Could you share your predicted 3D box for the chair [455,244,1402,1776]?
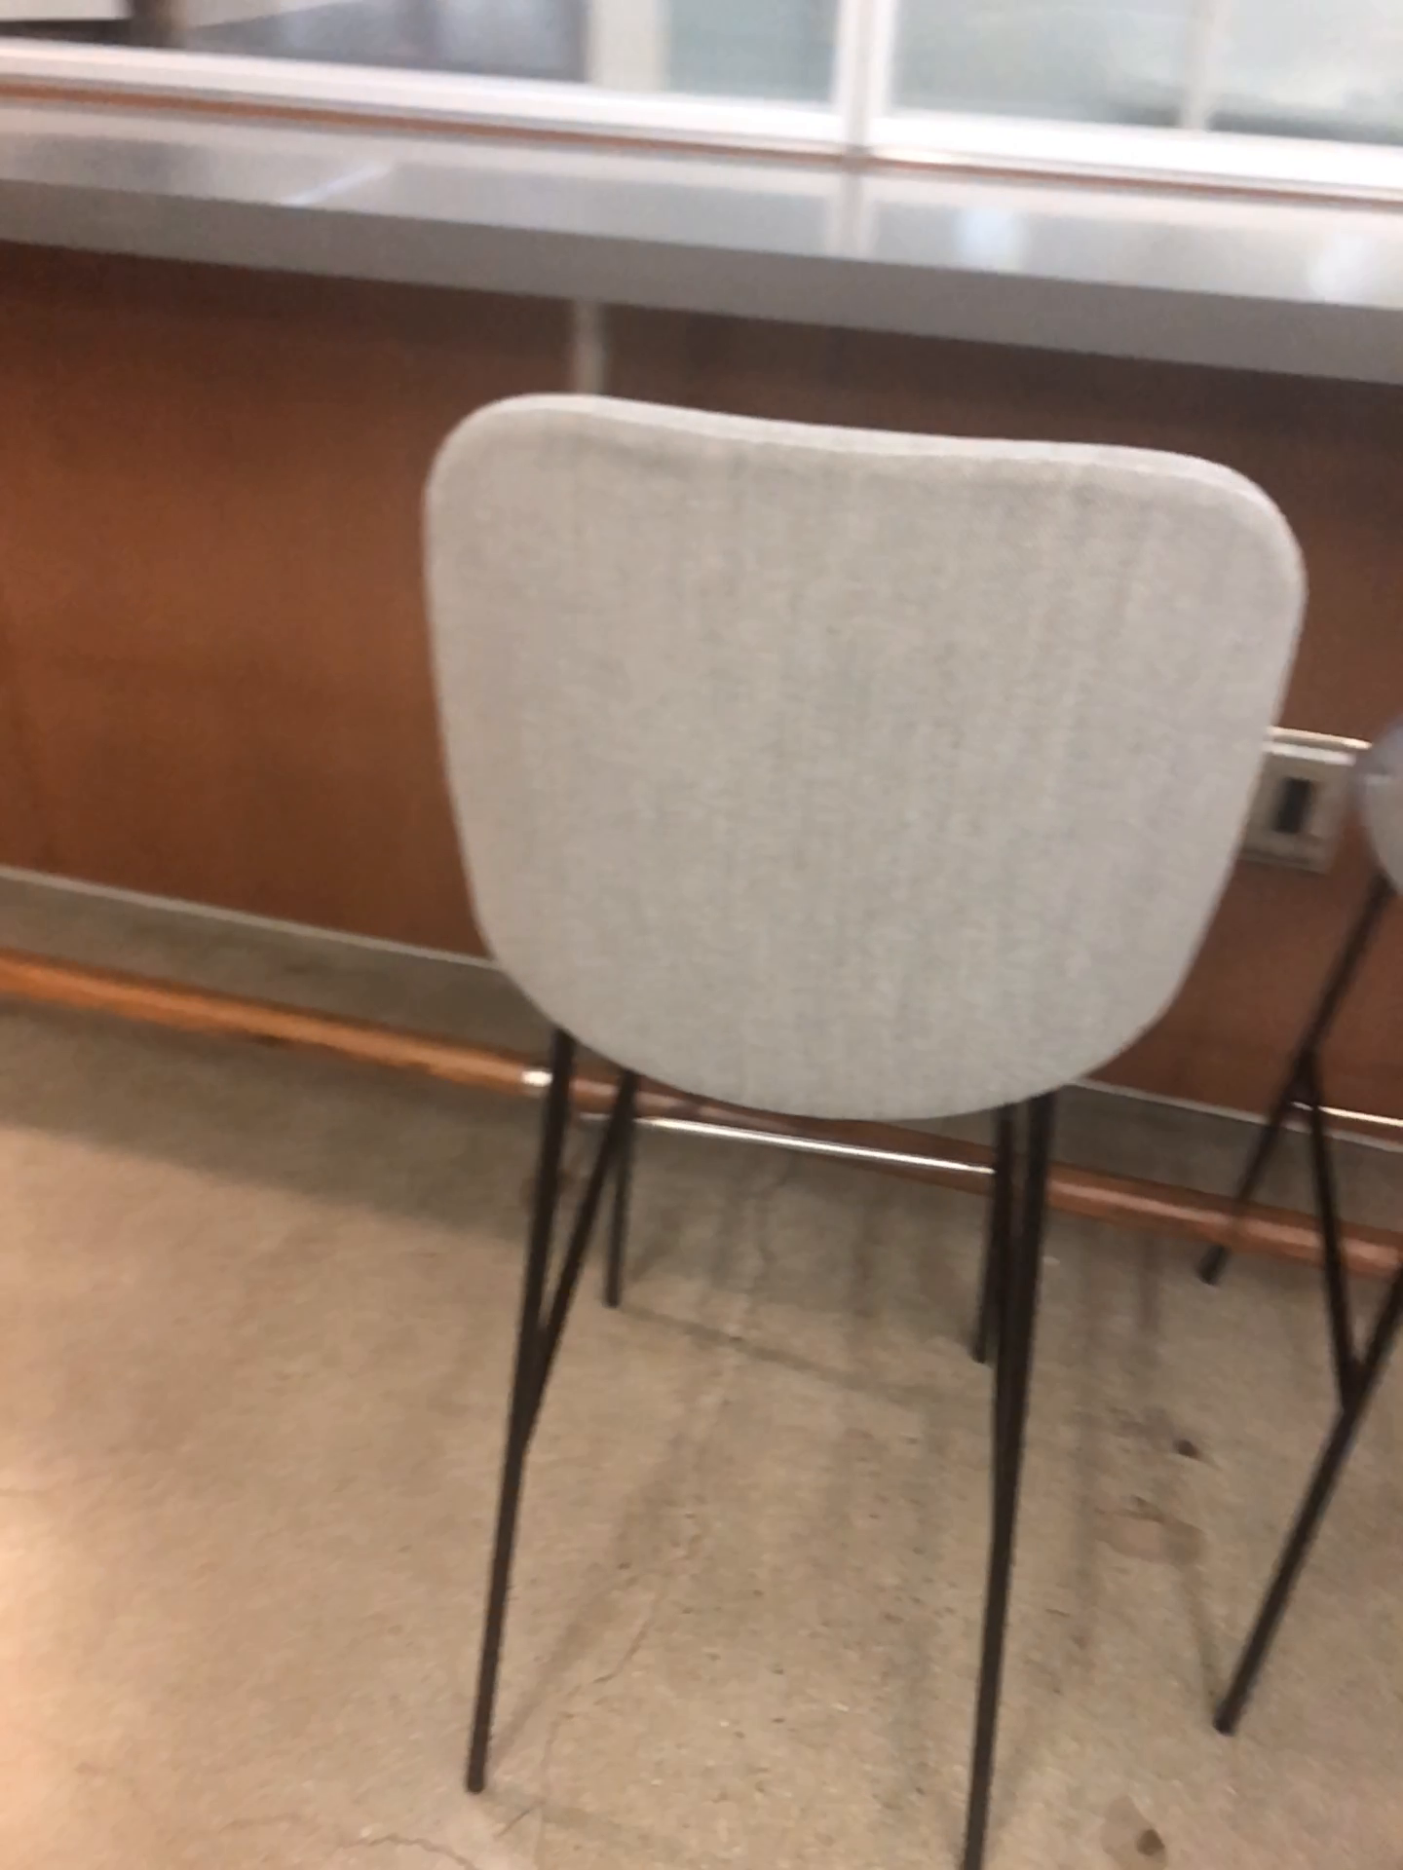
[{"bbox_3d":[0.220,0.141,1.684,0.710,1.487,0.626,8,35,9],"label":"chair"}]
